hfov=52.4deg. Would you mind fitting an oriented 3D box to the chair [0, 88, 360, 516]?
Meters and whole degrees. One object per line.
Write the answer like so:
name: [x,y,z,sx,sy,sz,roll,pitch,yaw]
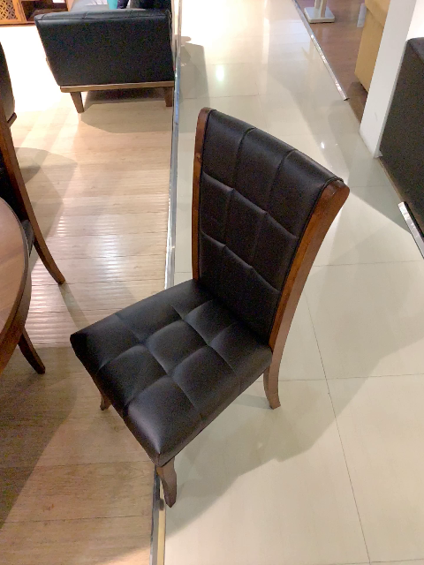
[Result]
chair: [-0.092,0.096,1.219,0.600,0.937,0.531,-33,55,-24]
